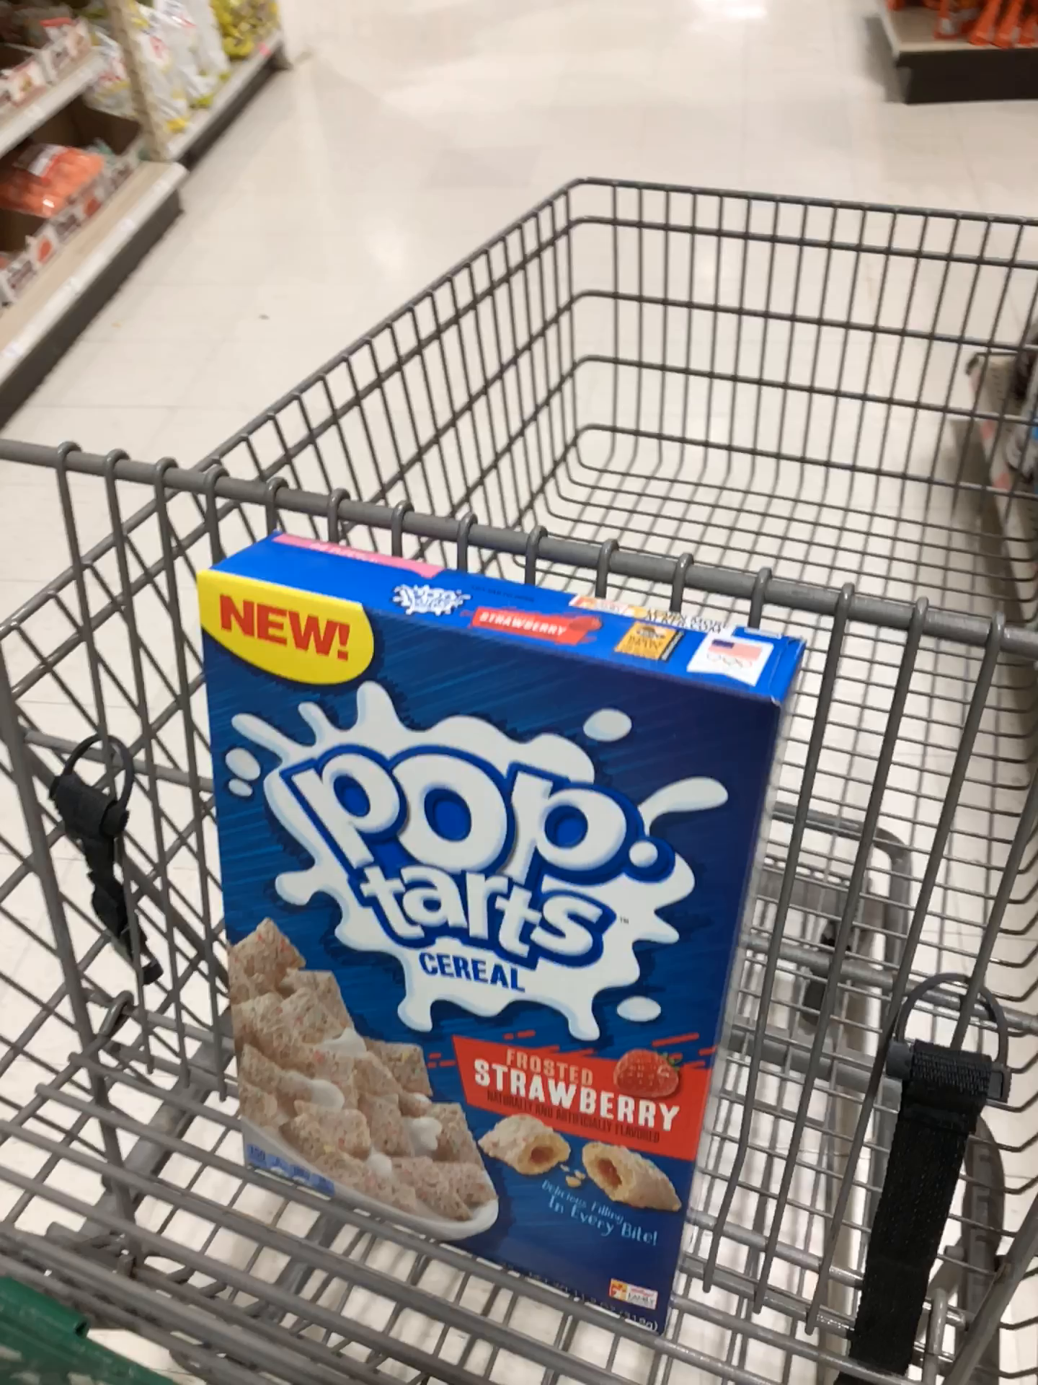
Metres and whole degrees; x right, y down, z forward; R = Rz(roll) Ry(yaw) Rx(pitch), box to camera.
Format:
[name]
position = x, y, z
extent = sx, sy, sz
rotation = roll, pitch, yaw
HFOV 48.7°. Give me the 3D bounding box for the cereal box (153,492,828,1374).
[cereal box]
position = -0.020, 0.088, 0.406
extent = 0.200, 0.279, 0.050
rotation = 14, 29, 20
